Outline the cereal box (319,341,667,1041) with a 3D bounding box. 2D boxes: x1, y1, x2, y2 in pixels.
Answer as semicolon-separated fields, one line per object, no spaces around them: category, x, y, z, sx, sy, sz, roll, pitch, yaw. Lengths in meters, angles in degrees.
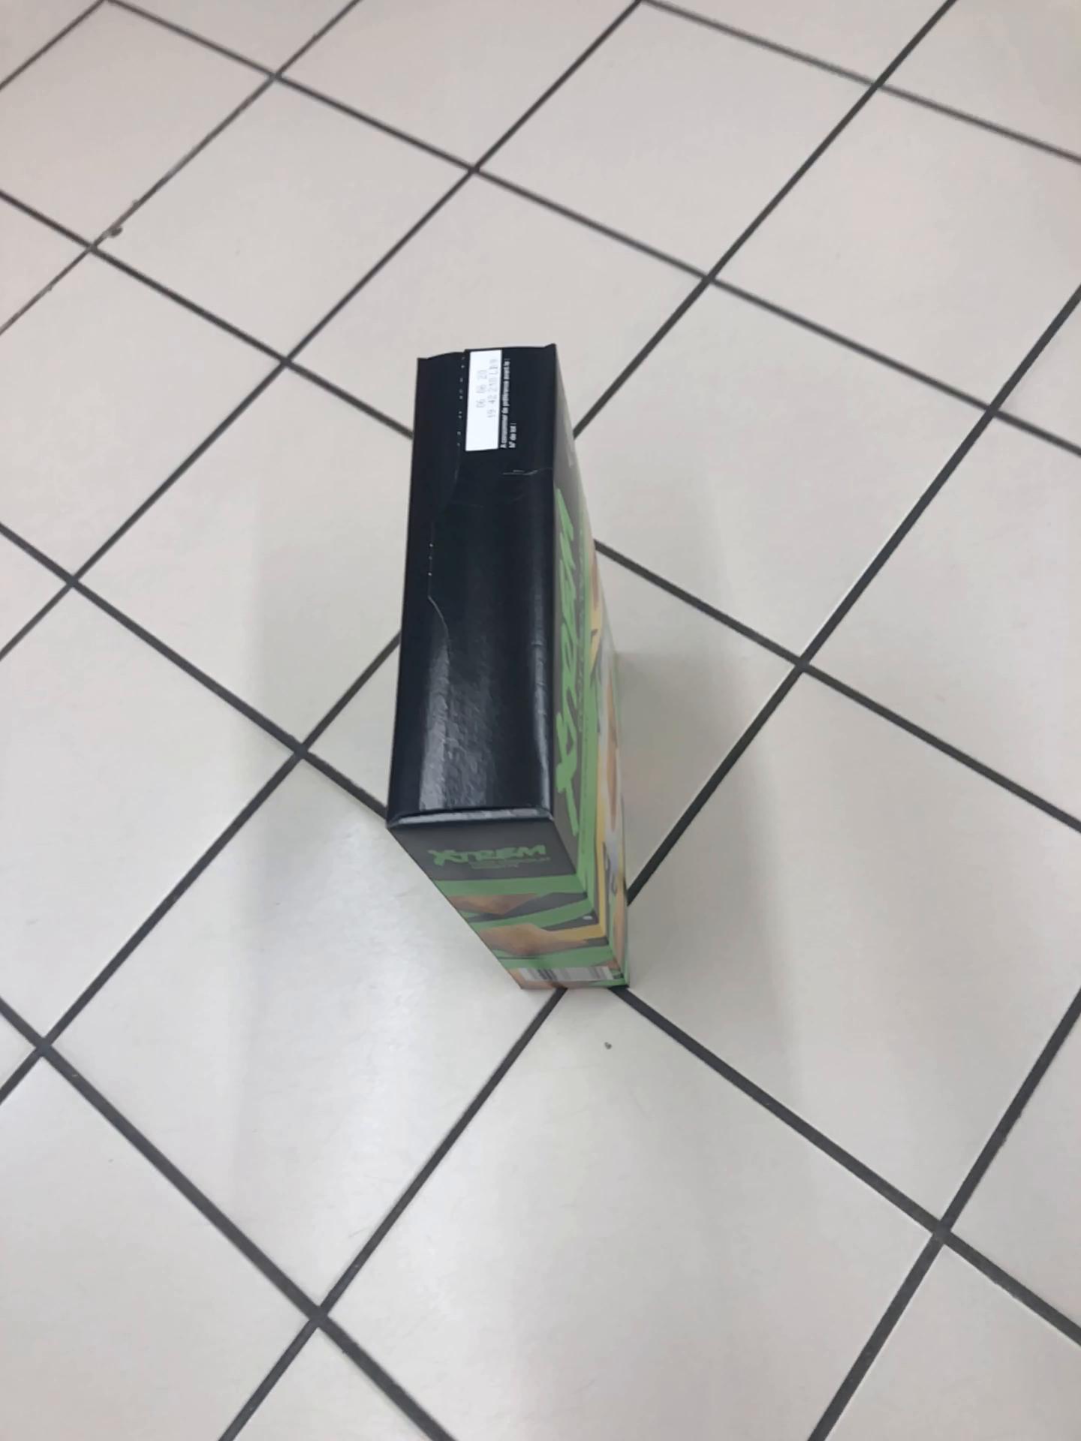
cereal box;-0.002;0.009;0.491;0.090;0.239;0.201;-3;65;8
